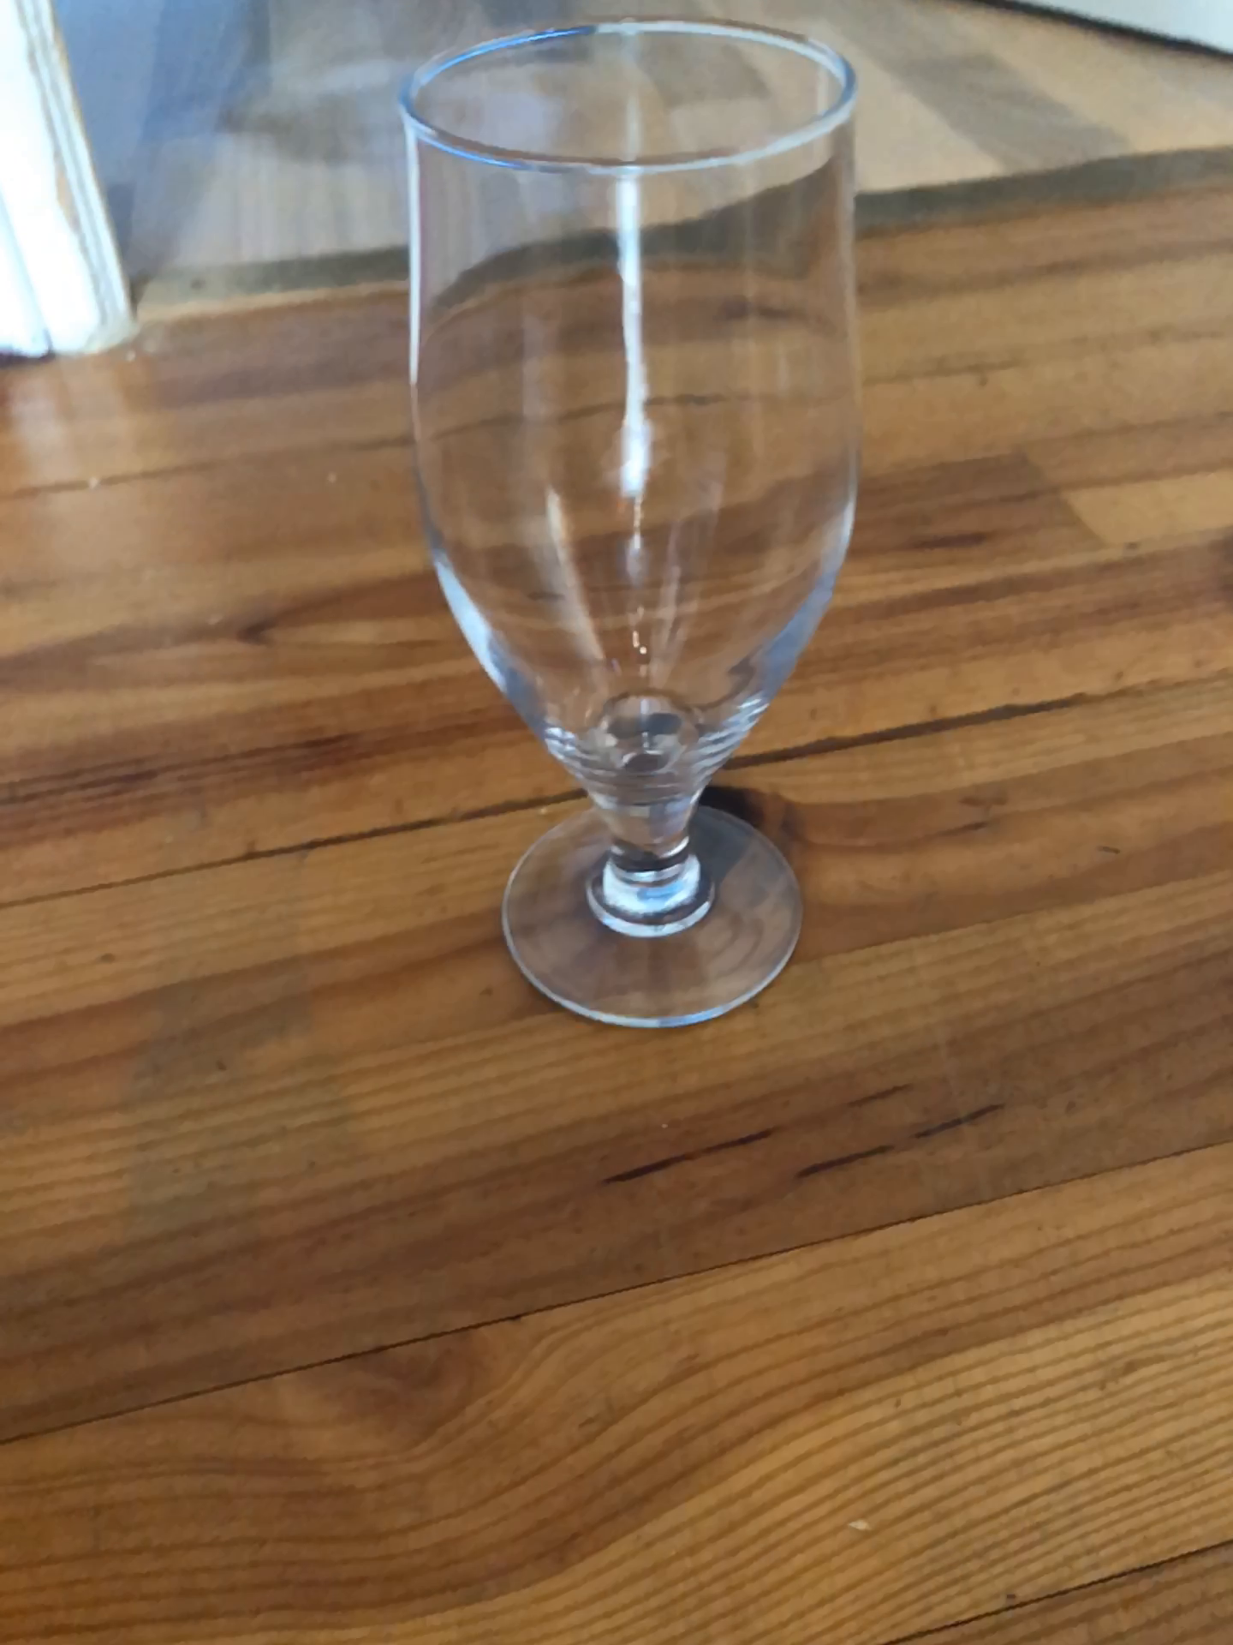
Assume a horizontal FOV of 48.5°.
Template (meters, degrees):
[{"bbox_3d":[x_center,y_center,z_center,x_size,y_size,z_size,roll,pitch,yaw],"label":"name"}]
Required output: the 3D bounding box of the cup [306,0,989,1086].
[{"bbox_3d":[0.000,-0.046,0.271,0.081,0.183,0.083,0,43,0],"label":"cup"}]
